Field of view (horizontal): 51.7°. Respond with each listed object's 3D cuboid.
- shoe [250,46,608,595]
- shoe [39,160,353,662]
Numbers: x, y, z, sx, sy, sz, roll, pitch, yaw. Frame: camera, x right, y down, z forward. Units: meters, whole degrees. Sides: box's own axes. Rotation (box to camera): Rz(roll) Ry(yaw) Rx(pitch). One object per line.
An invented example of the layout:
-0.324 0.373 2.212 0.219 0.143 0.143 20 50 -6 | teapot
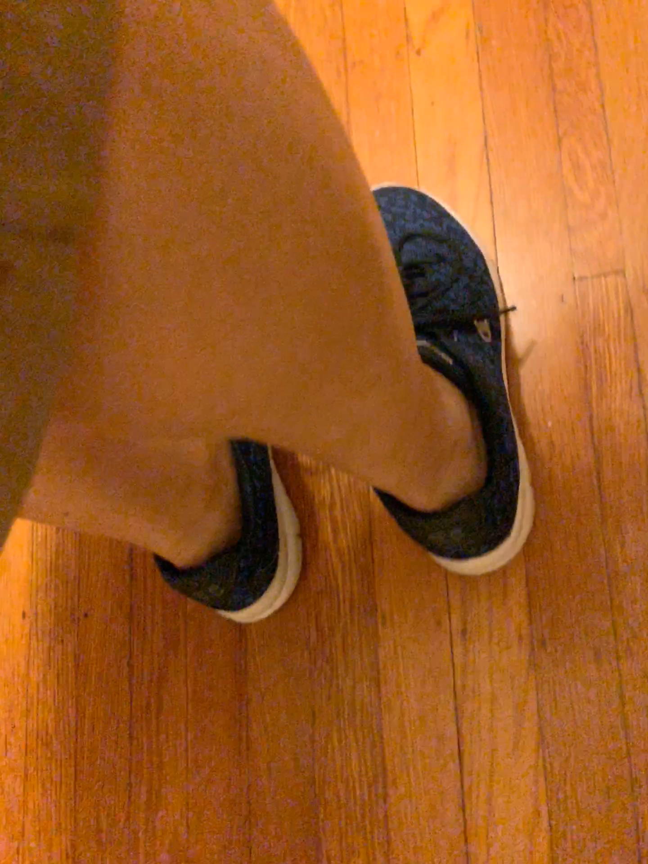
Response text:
0.065 -0.057 0.417 0.118 0.130 0.280 -19 75 17 | shoe
-0.087 -0.008 0.477 0.116 0.149 0.290 -17 75 17 | shoe
